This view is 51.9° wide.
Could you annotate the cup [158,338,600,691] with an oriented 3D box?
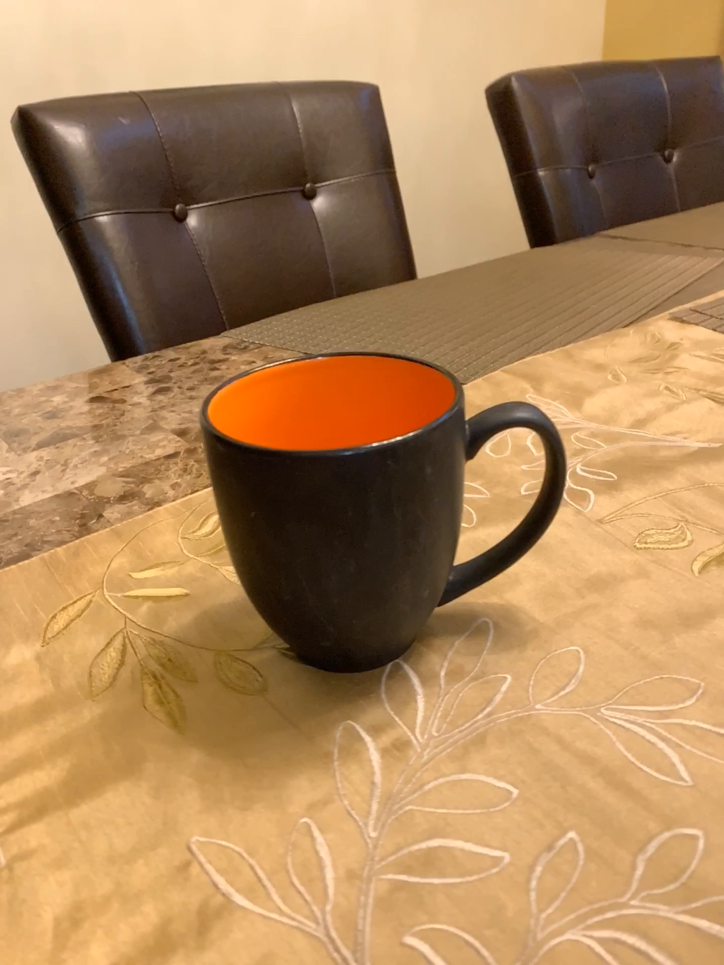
[{"bbox_3d":[0.007,0.007,0.286,0.132,0.087,0.100,-4,27,1],"label":"cup"}]
